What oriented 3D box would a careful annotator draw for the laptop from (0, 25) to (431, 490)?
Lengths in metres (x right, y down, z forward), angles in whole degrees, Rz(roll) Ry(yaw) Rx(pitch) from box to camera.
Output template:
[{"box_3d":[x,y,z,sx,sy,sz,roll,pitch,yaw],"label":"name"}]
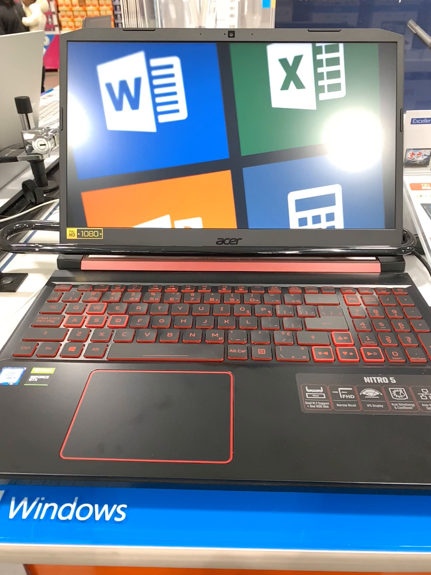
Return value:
[{"box_3d":[0.005,-0.085,0.367,0.358,0.198,0.381,1,34,3],"label":"laptop"}]
